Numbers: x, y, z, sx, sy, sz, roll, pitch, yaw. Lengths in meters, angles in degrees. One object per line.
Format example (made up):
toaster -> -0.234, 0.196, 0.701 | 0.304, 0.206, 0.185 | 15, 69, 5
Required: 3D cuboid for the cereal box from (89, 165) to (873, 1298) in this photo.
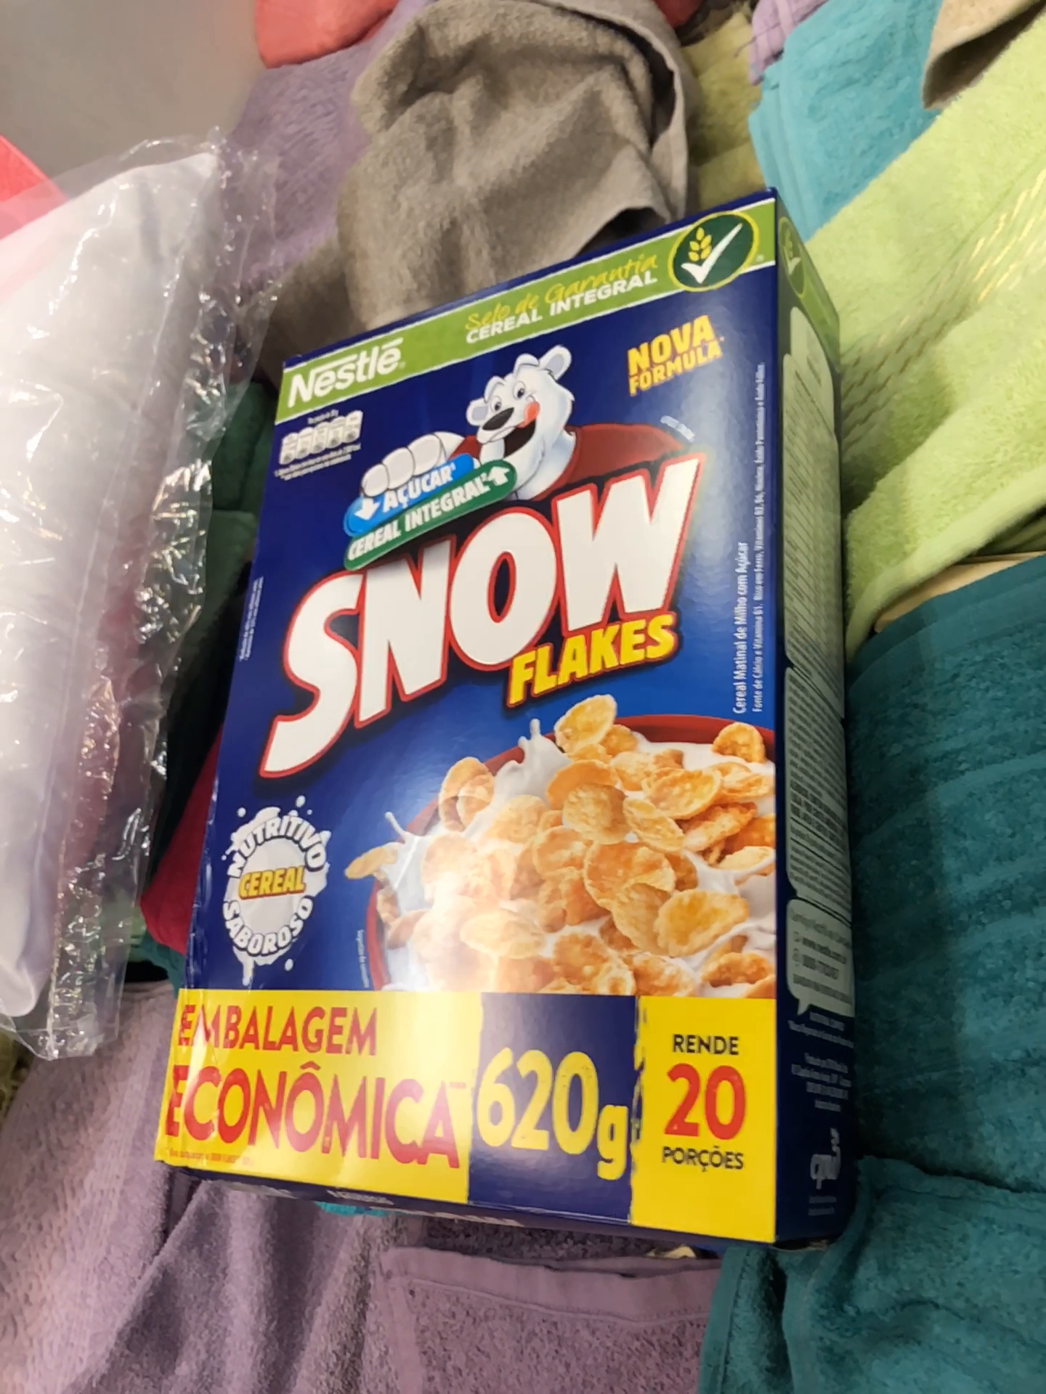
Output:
cereal box -> -0.009, 0.008, 0.376 | 0.221, 0.070, 0.301 | -8, 65, 33
